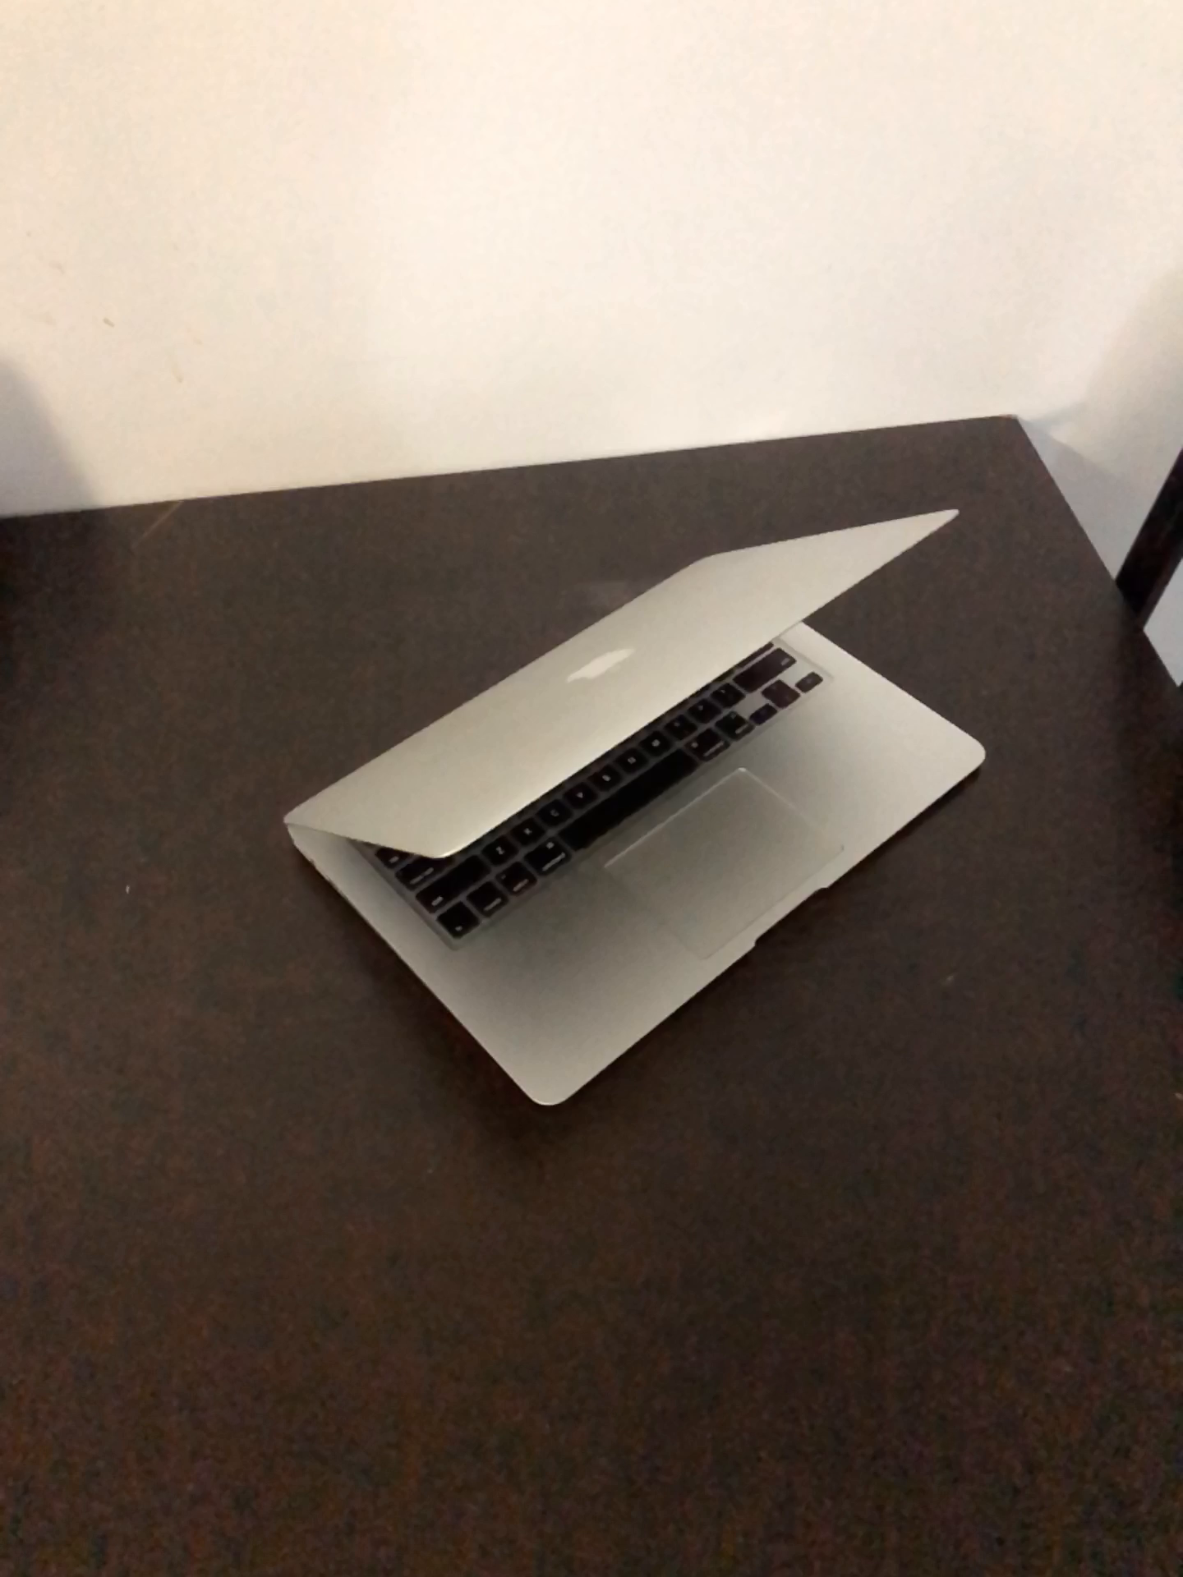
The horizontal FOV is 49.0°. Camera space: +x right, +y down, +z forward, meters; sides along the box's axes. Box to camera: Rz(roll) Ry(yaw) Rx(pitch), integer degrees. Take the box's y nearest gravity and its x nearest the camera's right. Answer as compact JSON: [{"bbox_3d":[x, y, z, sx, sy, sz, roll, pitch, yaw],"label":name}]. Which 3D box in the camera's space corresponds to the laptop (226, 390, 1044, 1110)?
[{"bbox_3d":[0.027,-0.043,0.675,0.331,0.131,0.226,-34,55,-25],"label":"laptop"}]
